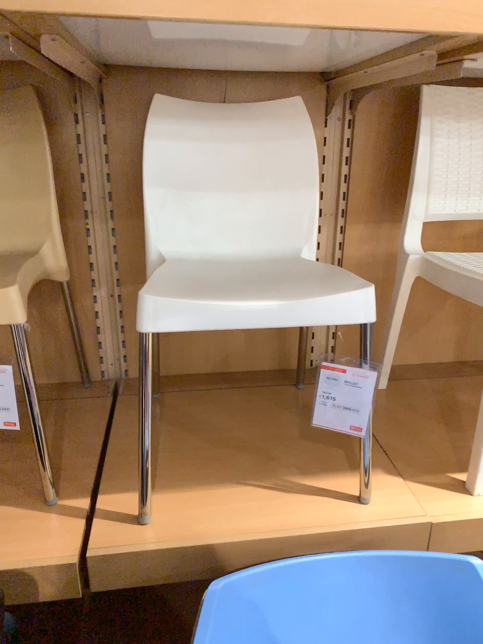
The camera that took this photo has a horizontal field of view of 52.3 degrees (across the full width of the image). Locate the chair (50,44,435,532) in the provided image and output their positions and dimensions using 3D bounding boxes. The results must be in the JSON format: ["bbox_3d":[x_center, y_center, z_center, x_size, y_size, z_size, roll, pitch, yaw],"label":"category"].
[{"bbox_3d":[-0.037,-0.116,1.246,0.610,0.917,0.682,-3,21,-8],"label":"chair"}]
